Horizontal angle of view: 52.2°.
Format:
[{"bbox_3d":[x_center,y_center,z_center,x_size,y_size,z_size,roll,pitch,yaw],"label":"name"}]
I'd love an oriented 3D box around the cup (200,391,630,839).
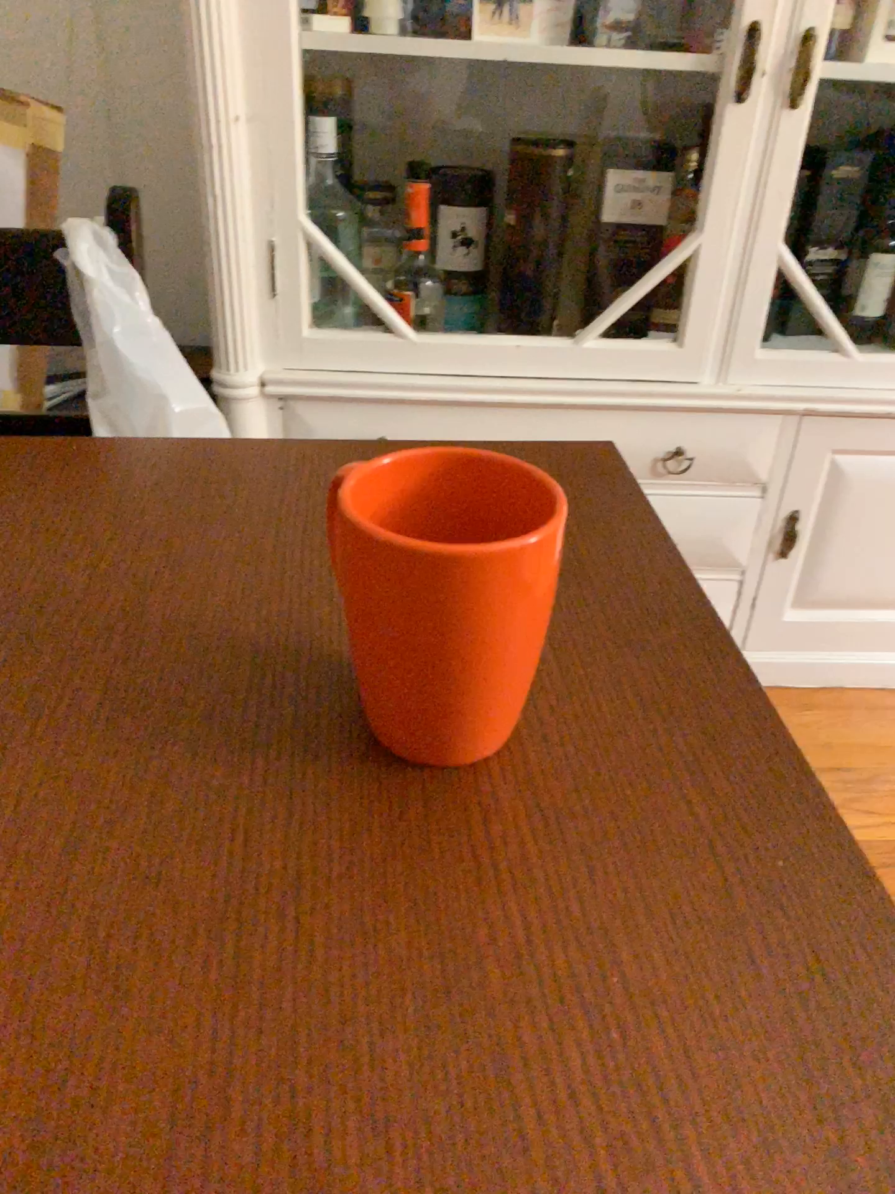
[{"bbox_3d":[-0.016,-0.002,0.373,0.100,0.109,0.131,-26,42,-38],"label":"cup"}]
